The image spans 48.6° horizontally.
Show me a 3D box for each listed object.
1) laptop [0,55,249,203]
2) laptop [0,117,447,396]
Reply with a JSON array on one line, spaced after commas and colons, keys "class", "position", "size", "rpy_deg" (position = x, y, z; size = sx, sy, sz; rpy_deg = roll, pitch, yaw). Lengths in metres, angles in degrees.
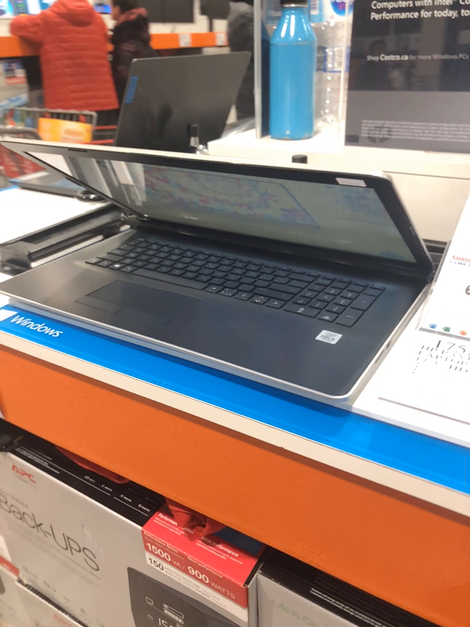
[{"class": "laptop", "position": [-0.203, -0.382, 1.020], "size": [0.331, 0.212, 0.341], "rpy_deg": [14, 31, 27]}, {"class": "laptop", "position": [-0.034, -0.102, 0.533], "size": [0.406, 0.150, 0.258], "rpy_deg": [14, 31, 30]}]
